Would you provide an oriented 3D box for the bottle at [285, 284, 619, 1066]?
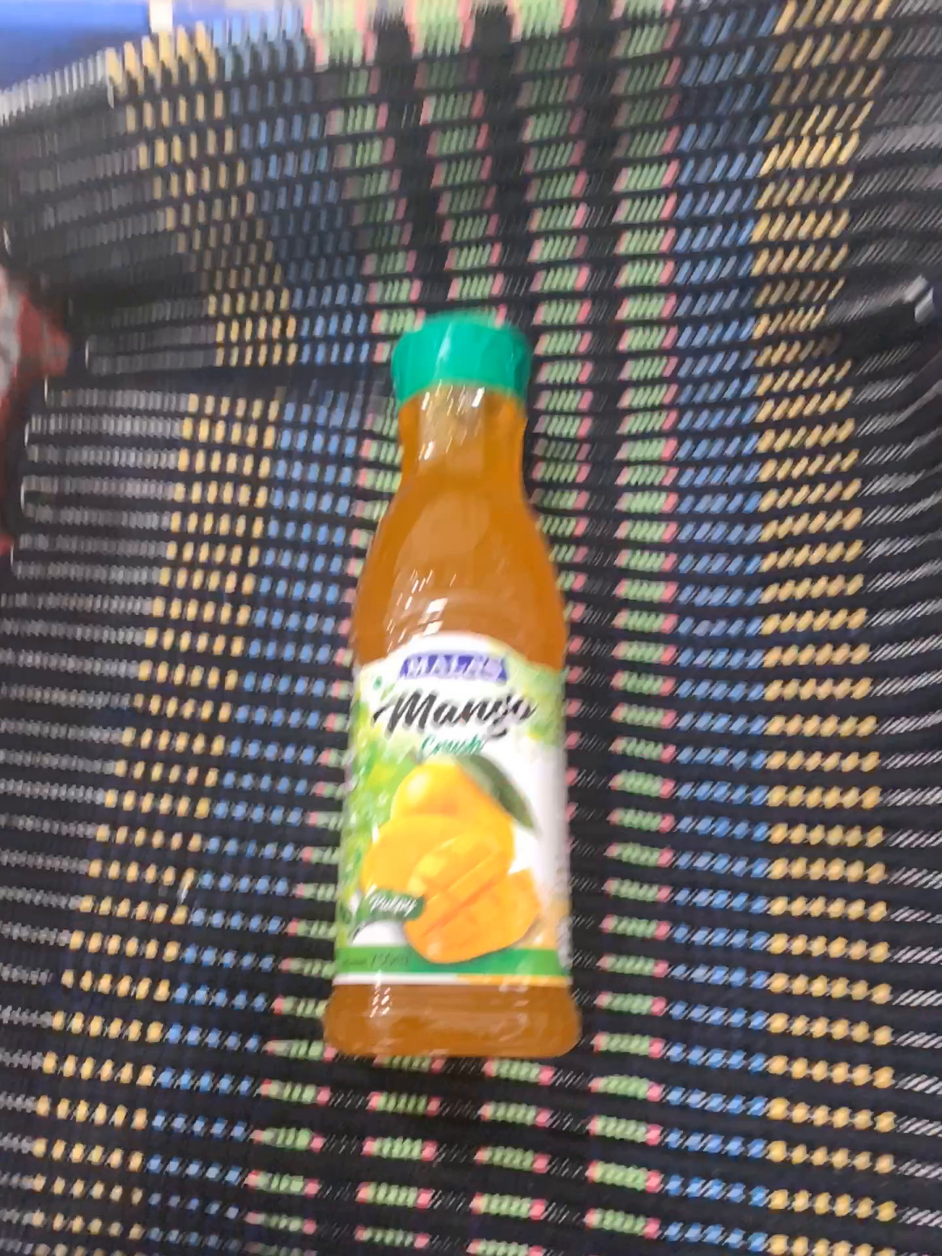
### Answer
[{"bbox_3d":[-0.005,0.013,0.323,0.080,0.090,0.240,2,66,-2],"label":"bottle"}]
